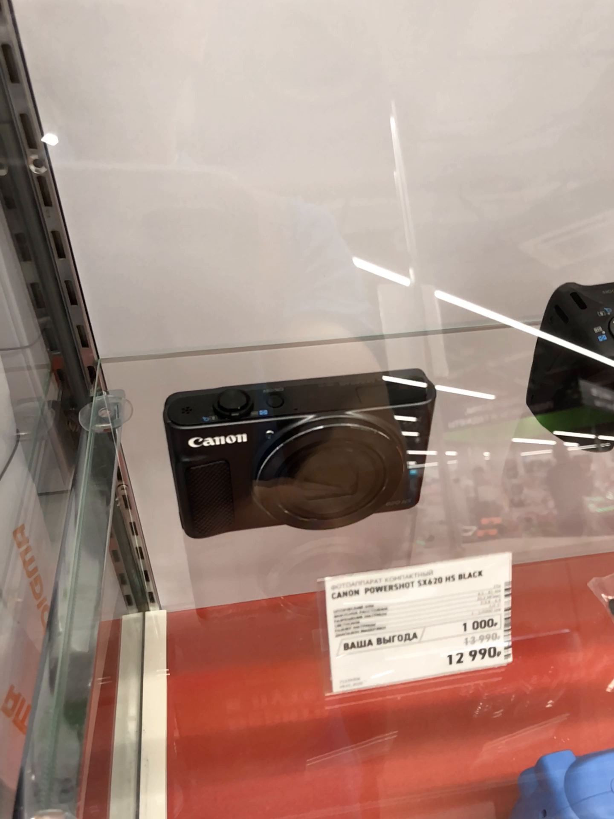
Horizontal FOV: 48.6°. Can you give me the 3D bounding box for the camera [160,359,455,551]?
[{"bbox_3d":[-0.001,0.017,0.252,0.098,0.055,0.030,-6,40,-7],"label":"camera"}]
